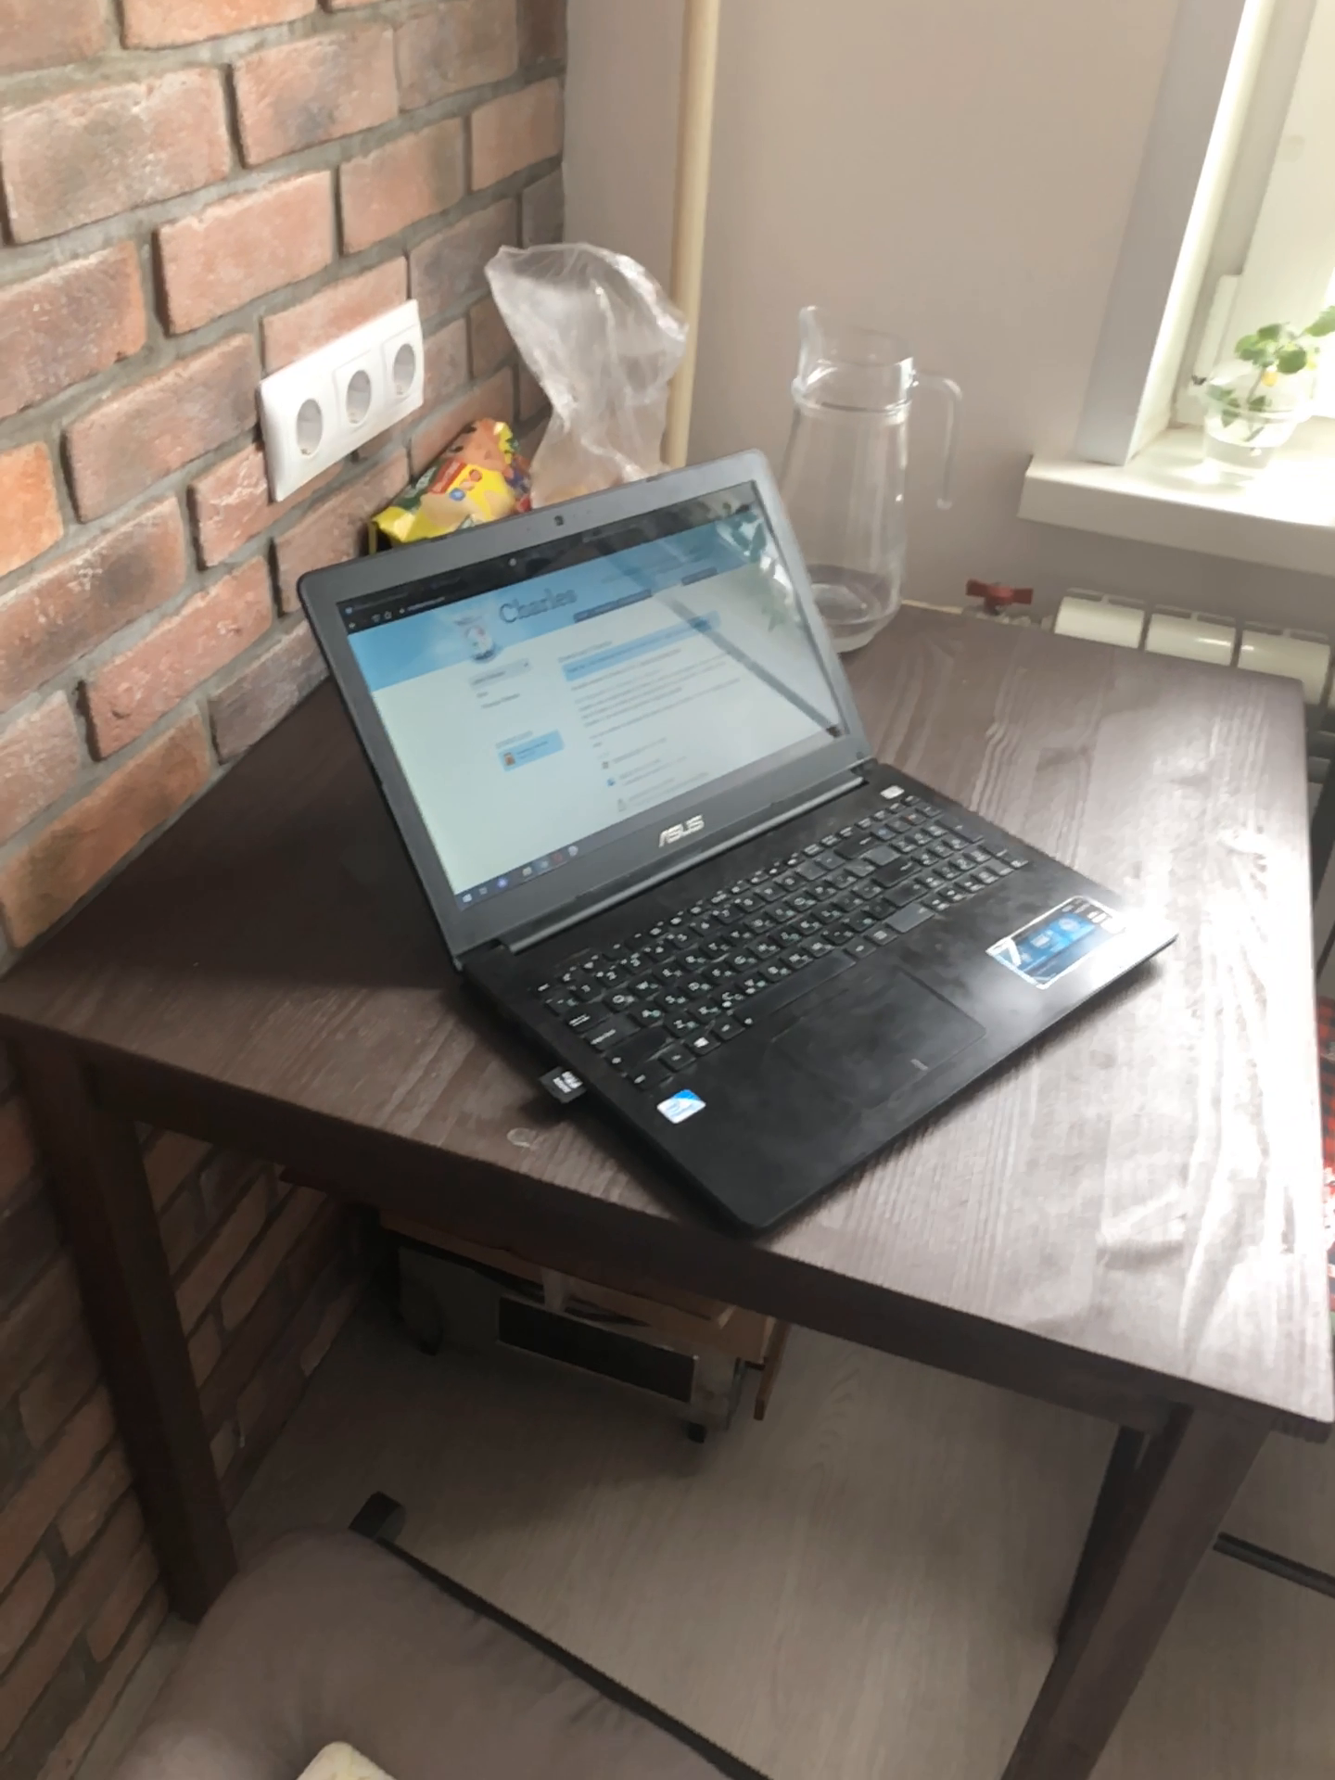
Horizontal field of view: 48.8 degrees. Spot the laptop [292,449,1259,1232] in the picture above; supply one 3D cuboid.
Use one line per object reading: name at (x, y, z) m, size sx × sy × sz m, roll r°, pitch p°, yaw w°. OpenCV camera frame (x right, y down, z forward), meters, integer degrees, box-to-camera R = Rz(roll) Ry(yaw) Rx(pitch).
laptop at (0.052, -0.074, 0.880) m, size 0.373 × 0.186 × 0.401 m, roll -26°, pitch 46°, yaw -34°
